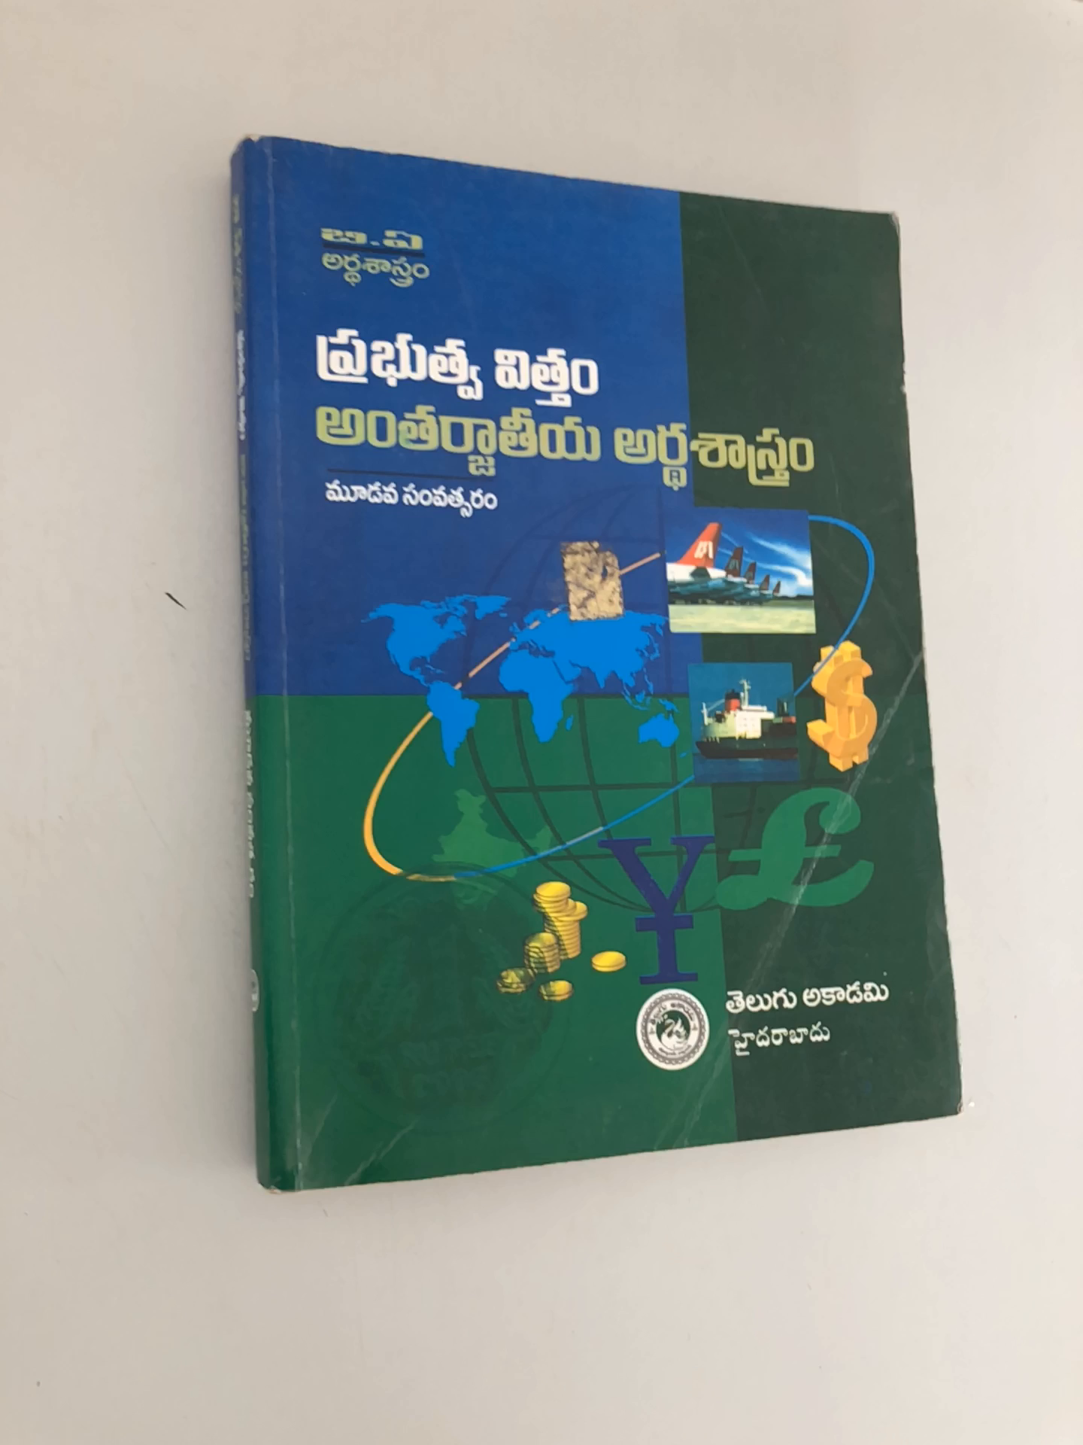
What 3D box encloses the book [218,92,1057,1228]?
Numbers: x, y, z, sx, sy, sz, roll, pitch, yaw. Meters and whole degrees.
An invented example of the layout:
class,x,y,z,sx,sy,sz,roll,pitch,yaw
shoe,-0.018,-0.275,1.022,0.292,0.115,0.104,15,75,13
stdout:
class,x,y,z,sx,sy,sz,roll,pitch,yaw
book,0.021,-0.018,0.303,0.190,0.050,0.240,-1,83,-17
